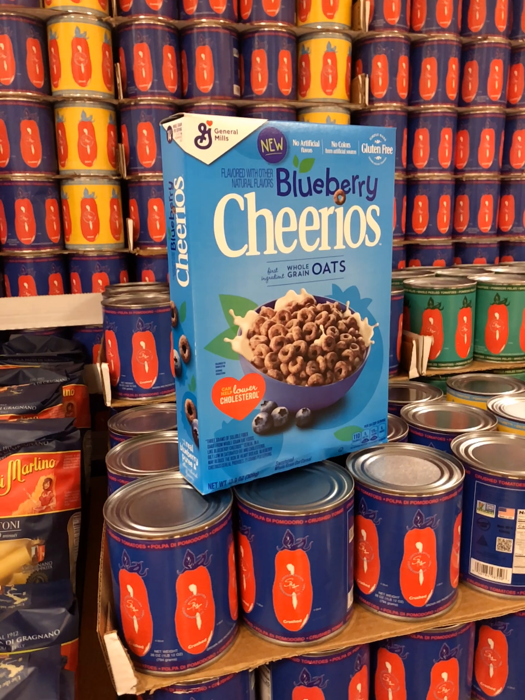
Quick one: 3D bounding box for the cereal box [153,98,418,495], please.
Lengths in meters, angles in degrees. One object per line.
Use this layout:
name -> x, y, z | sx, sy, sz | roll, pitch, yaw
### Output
cereal box -> 0.026, -0.047, 0.483 | 0.210, 0.279, 0.060 | -9, 15, -31
